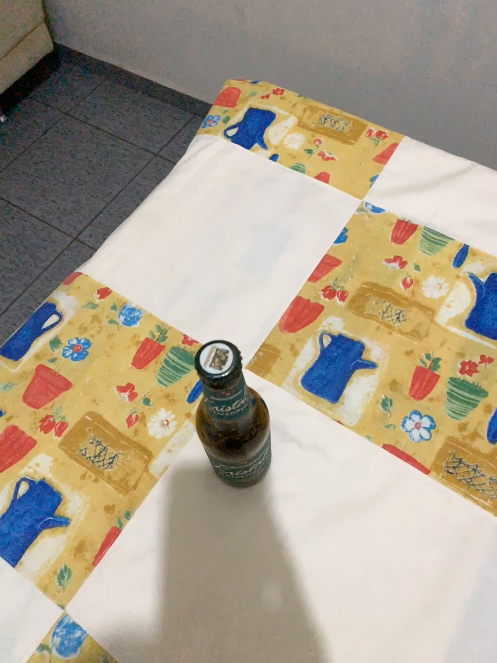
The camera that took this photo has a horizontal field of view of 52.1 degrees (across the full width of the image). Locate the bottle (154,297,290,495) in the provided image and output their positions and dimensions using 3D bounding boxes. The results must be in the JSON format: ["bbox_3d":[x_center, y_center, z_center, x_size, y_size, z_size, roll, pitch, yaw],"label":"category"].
[{"bbox_3d":[-0.011,0.067,0.396,0.070,0.229,0.060,-12,61,-3],"label":"bottle"}]
